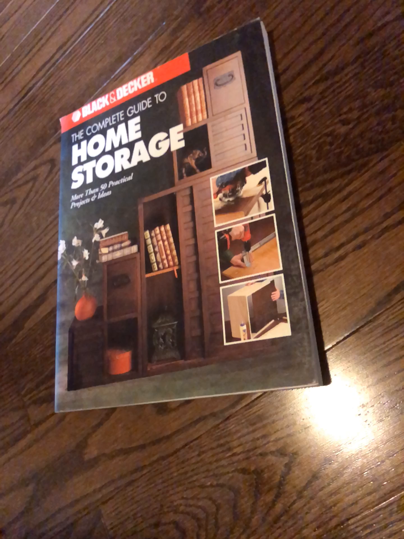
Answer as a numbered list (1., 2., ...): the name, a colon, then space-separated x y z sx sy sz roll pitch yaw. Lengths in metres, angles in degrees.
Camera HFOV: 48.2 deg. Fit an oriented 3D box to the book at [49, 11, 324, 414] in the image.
1. book: -0.035 -0.042 0.365 0.215 0.020 0.287 -14 70 26
